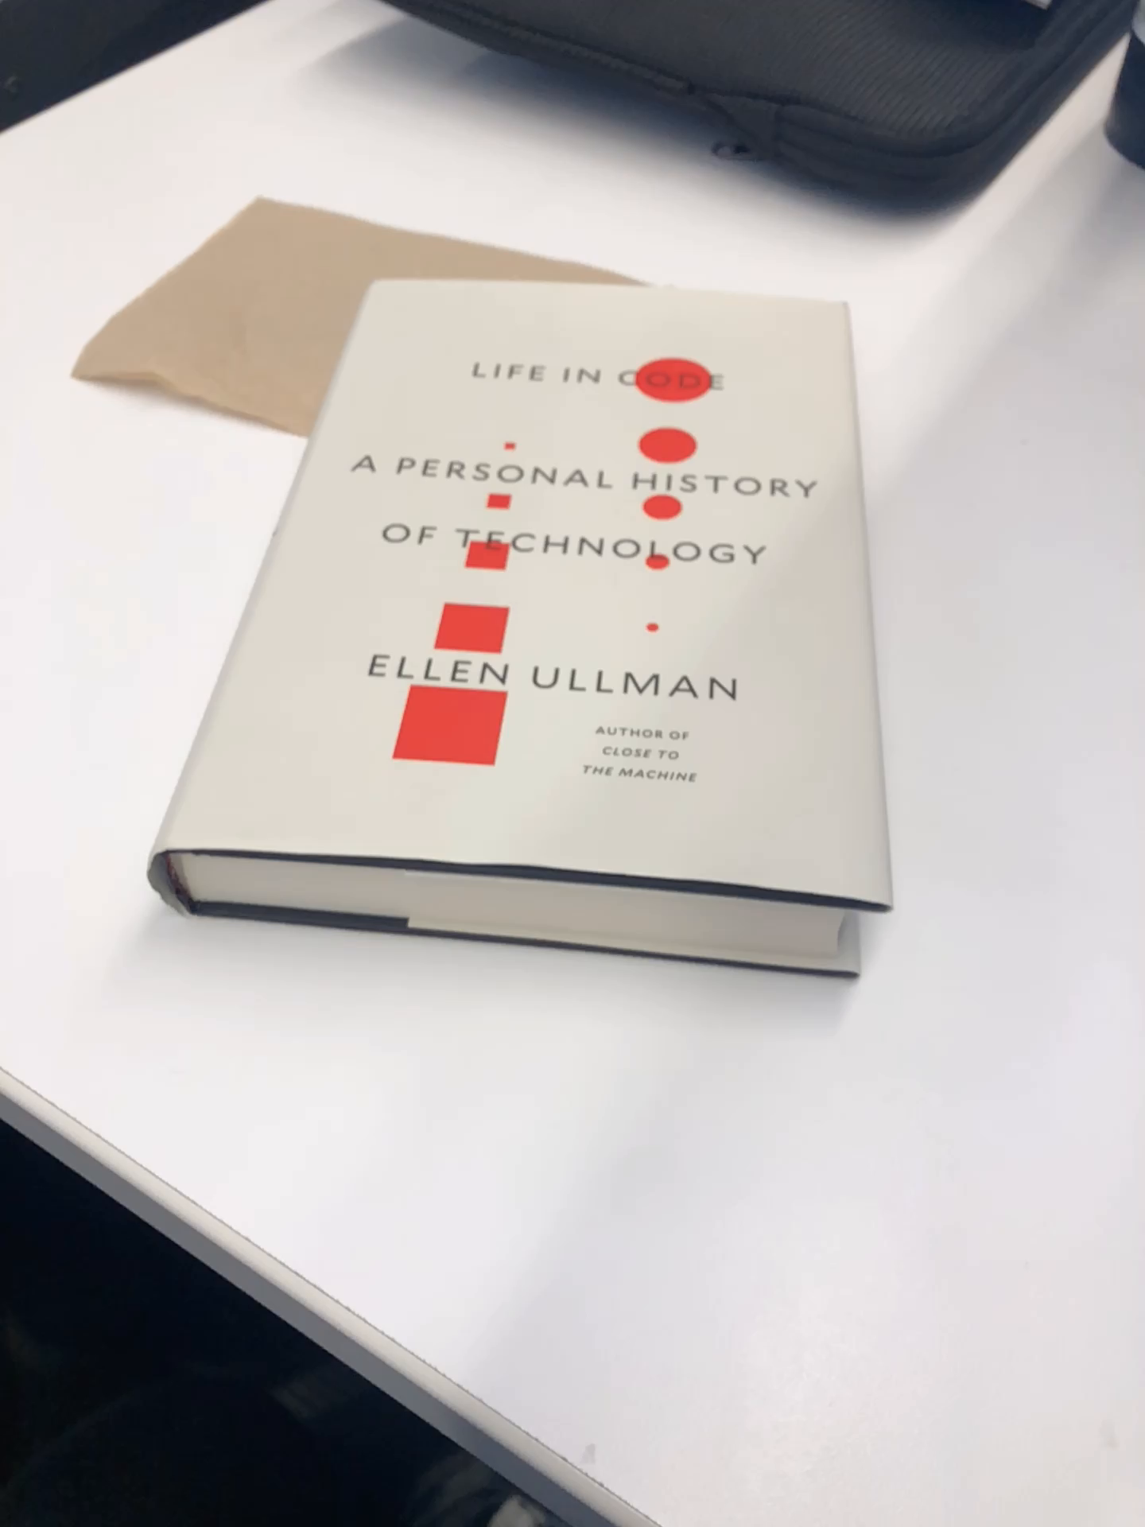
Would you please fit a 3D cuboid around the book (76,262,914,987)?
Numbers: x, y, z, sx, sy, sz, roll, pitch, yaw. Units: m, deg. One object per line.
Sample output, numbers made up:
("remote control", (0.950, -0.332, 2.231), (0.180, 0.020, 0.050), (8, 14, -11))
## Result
("book", (-0.004, -0.054, 0.327), (0.160, 0.030, 0.221), (5, 49, 5))
